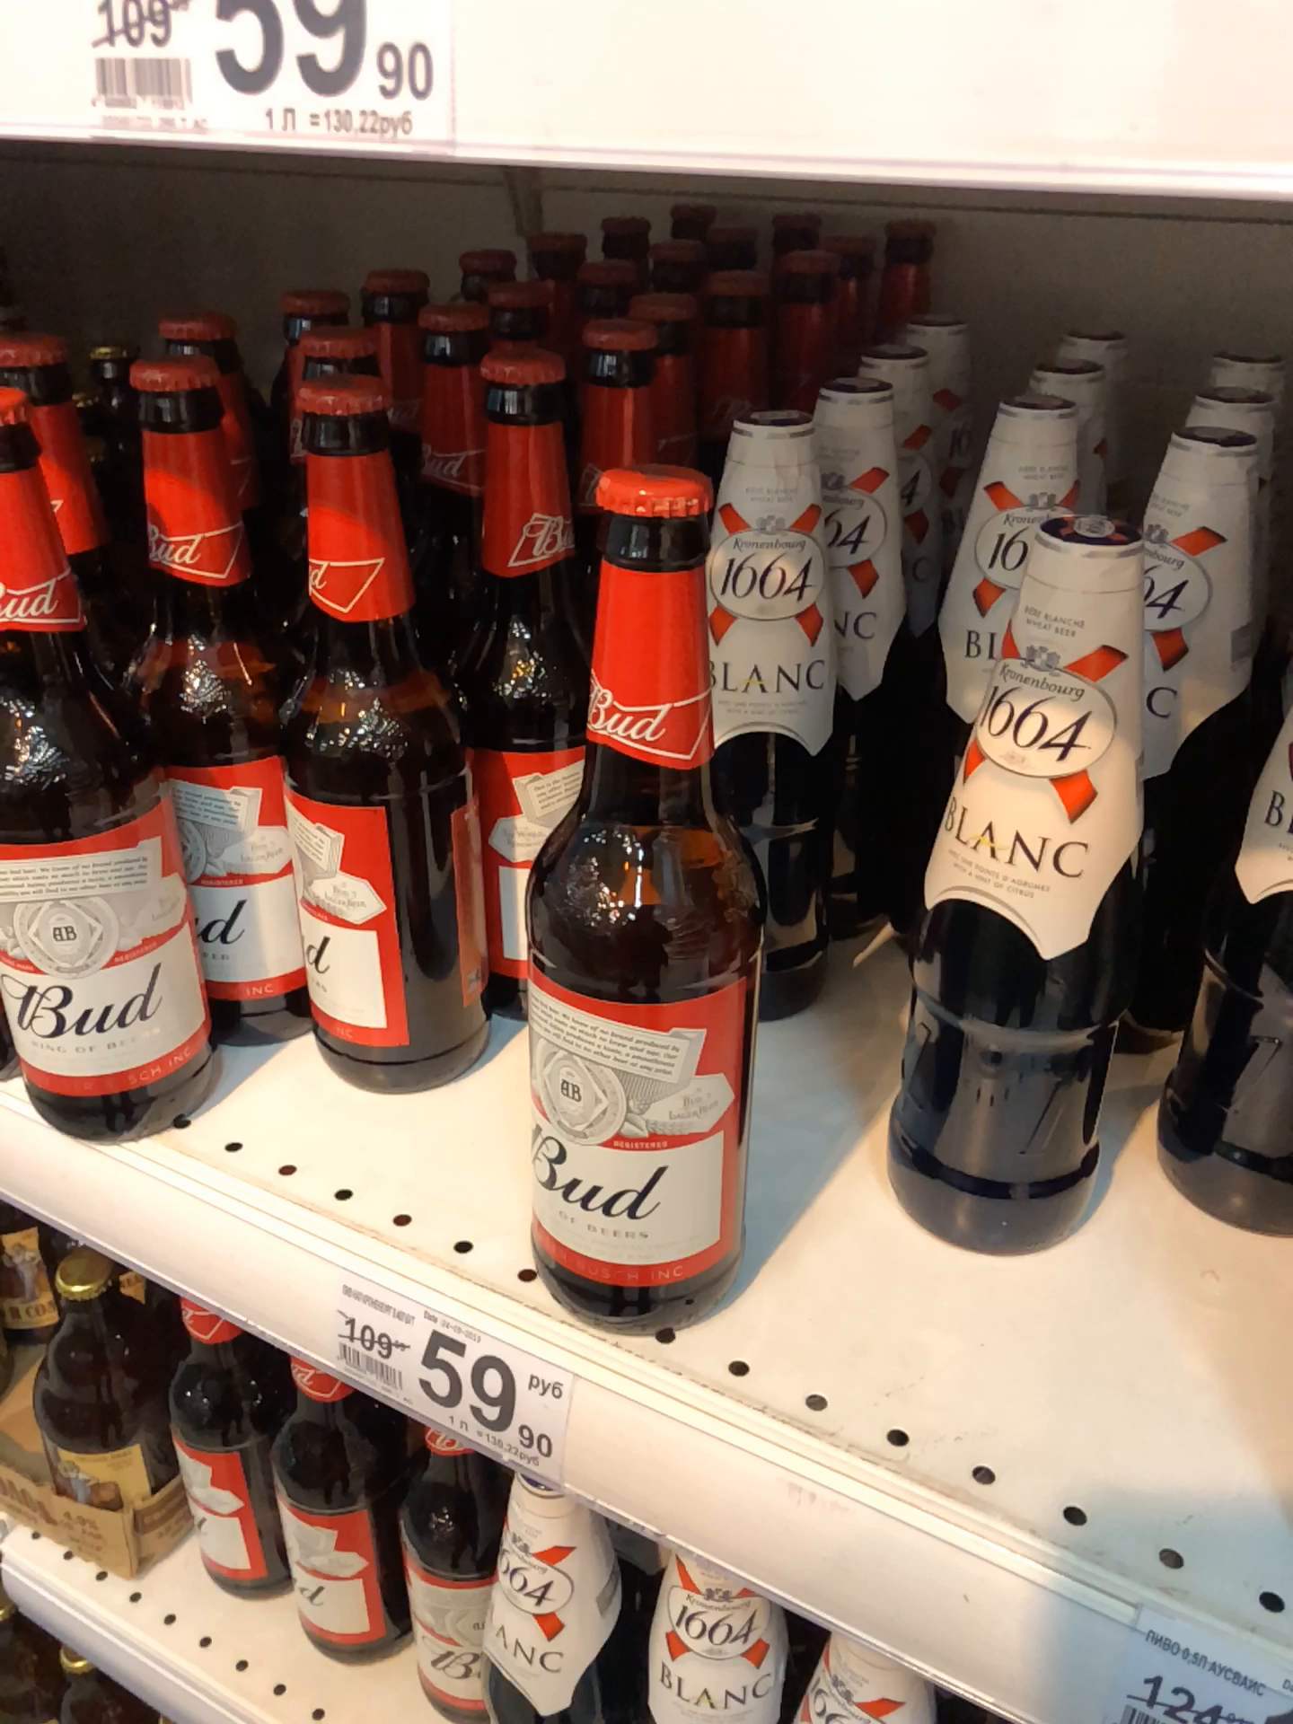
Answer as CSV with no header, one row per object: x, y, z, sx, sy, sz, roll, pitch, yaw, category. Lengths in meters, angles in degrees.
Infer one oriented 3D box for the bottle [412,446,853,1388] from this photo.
-0.002,0.021,0.403,0.080,0.248,0.070,20,36,32,bottle
